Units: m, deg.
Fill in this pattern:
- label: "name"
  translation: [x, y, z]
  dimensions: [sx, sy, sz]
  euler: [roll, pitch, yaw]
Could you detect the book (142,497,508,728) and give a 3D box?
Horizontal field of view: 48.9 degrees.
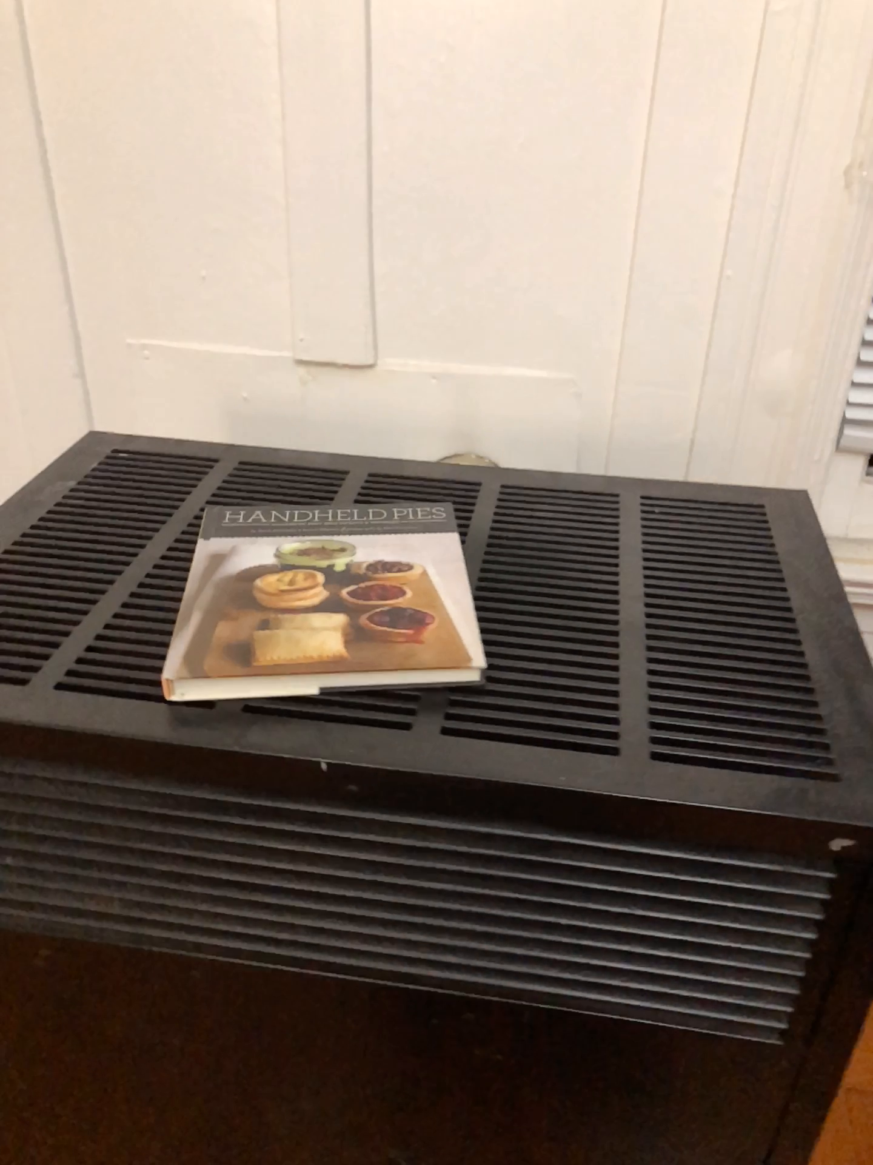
- label: "book"
  translation: [-0.070, 0.007, 0.631]
  dimensions: [0.200, 0.020, 0.231]
  euler: [-3, 31, -4]
